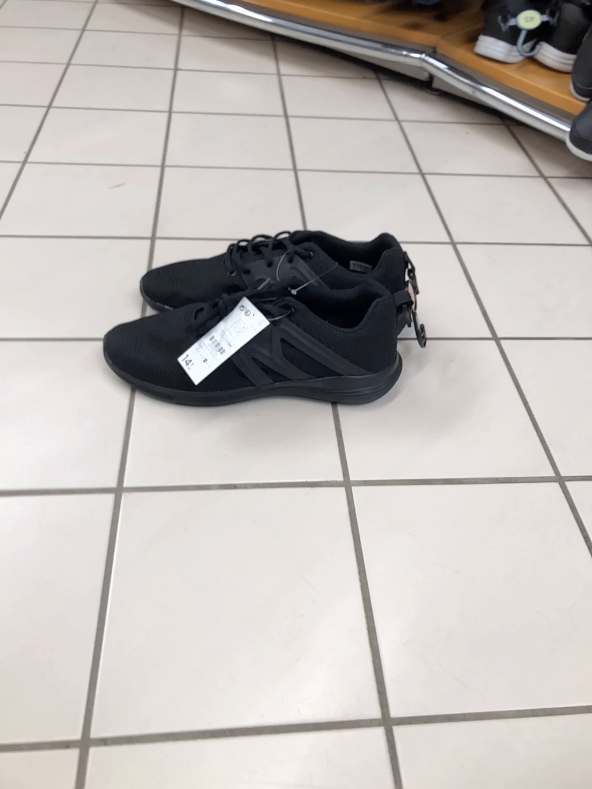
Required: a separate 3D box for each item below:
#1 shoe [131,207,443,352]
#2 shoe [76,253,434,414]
[{"bbox_3d":[-0.011,-0.126,0.721,0.310,0.109,0.101,1,45,-4],"label":"shoe"},{"bbox_3d":[-0.038,-0.058,0.639,0.310,0.109,0.101,1,45,-4],"label":"shoe"}]
